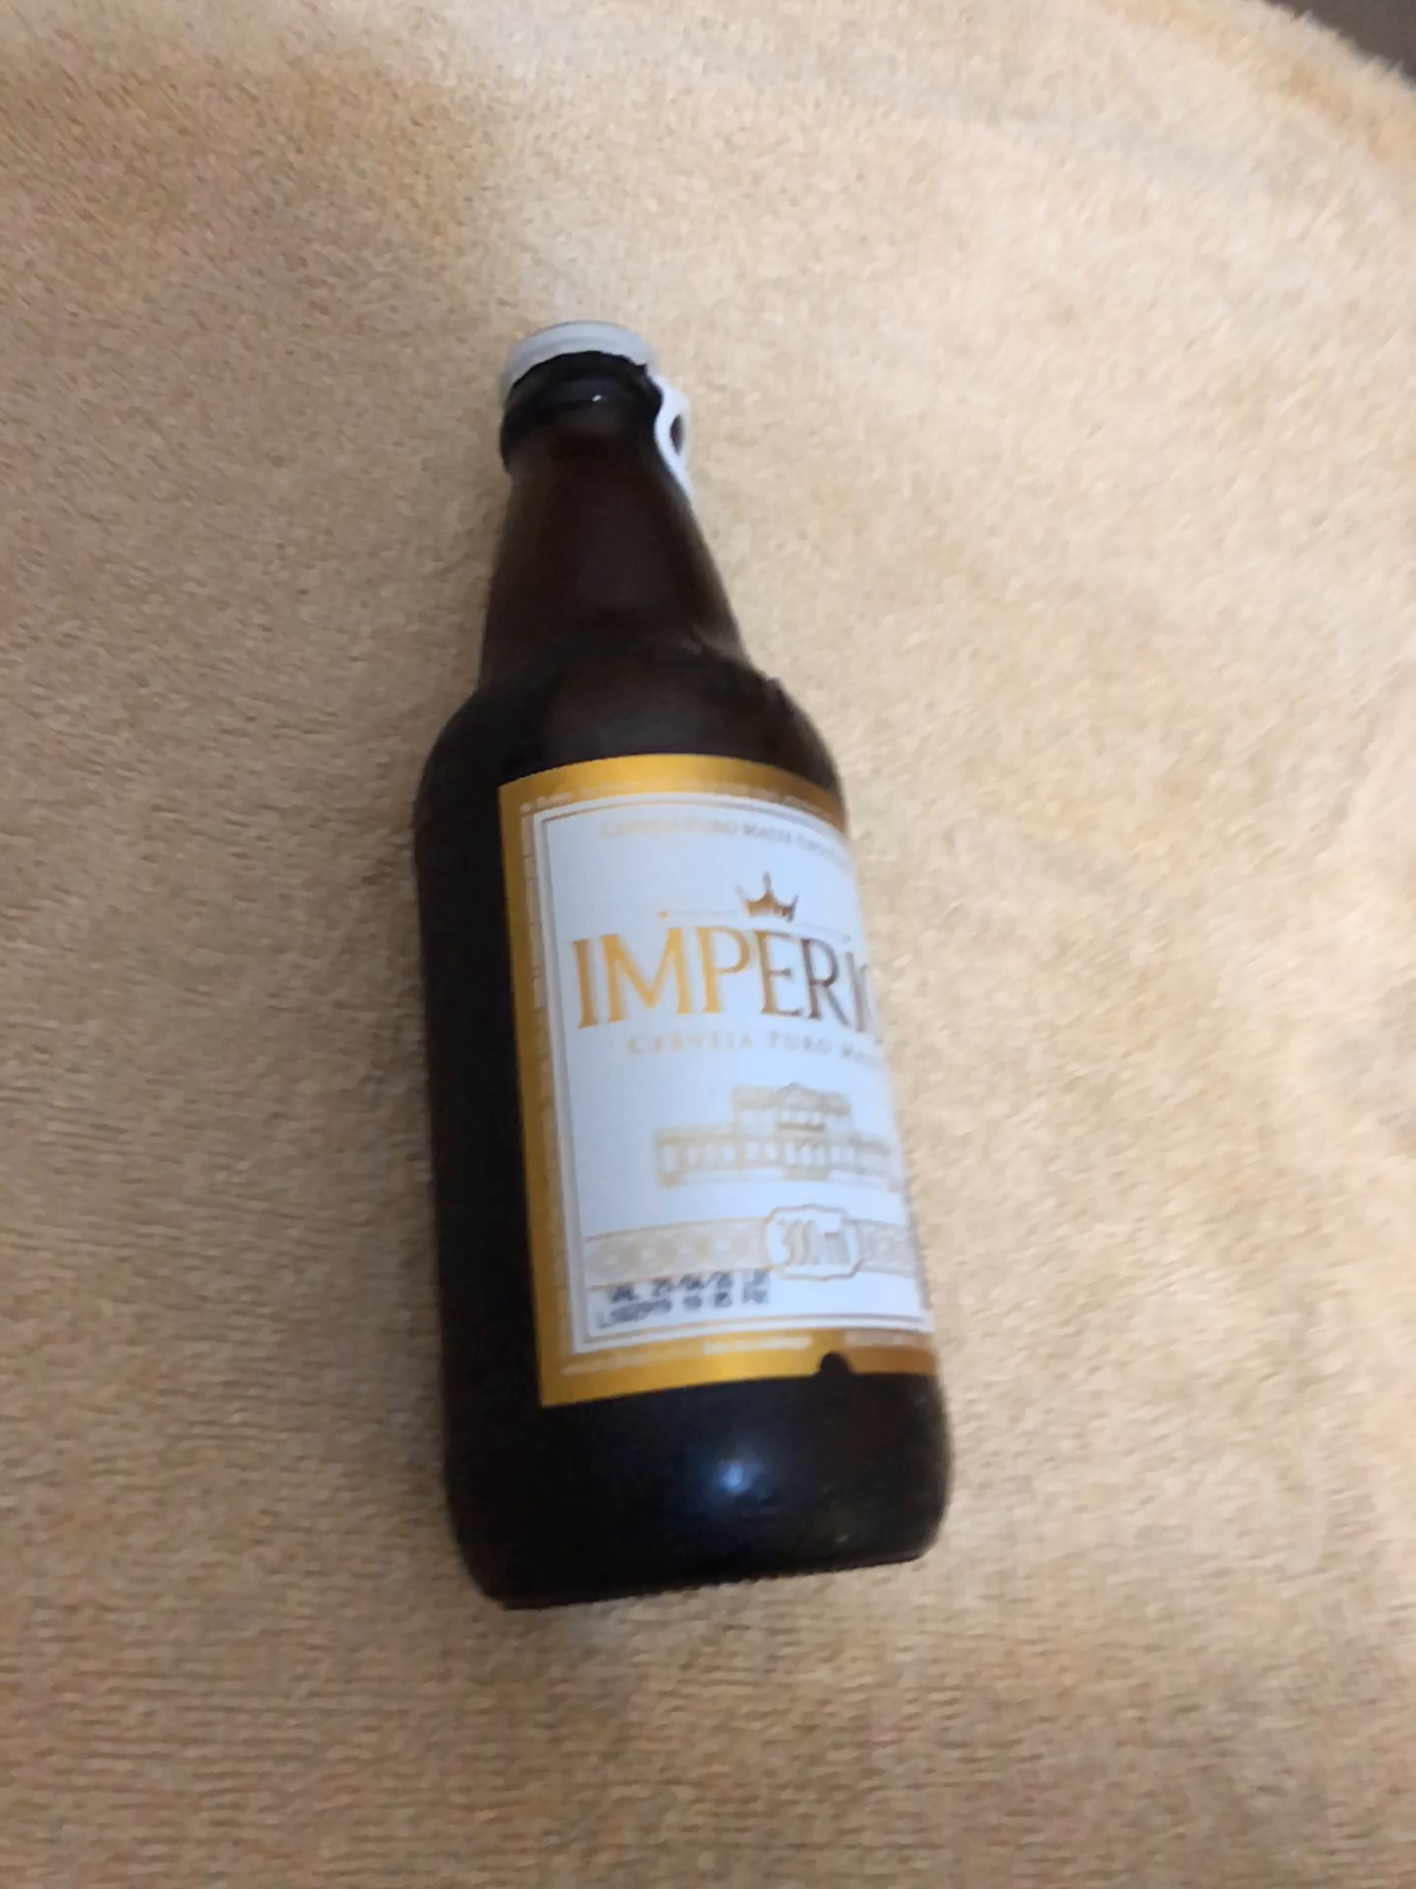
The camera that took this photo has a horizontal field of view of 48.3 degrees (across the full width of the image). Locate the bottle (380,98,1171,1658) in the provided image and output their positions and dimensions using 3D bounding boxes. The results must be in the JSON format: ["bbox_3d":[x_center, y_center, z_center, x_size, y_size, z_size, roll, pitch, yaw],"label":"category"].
[{"bbox_3d":[-0.004,-0.013,0.211,0.060,0.060,0.190,2,66,-22],"label":"bottle"}]
